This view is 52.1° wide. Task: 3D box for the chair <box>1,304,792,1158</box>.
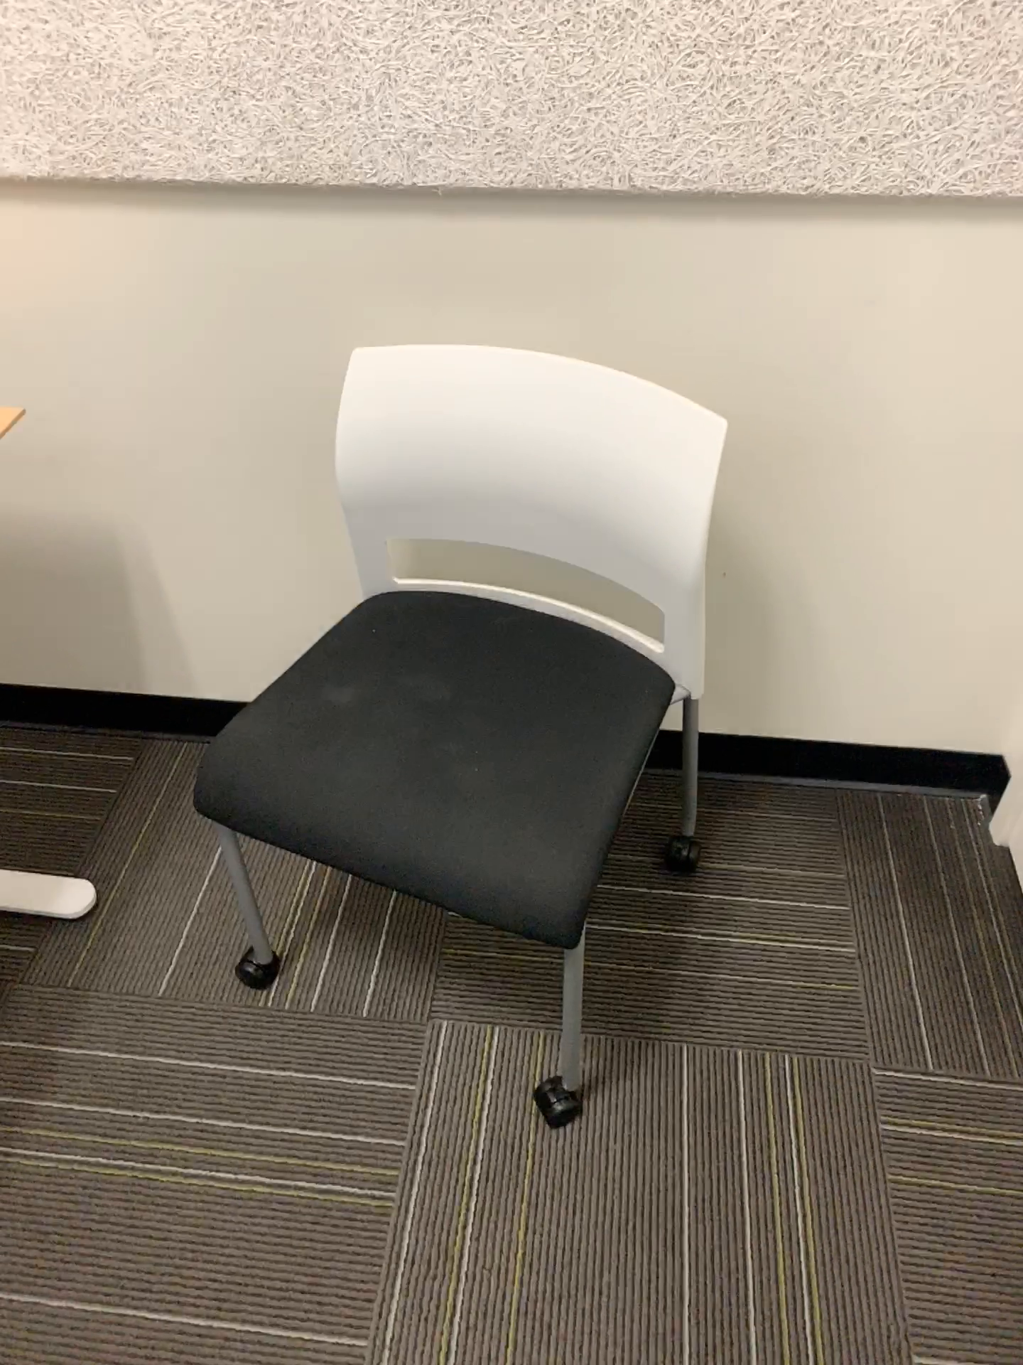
[{"bbox_3d":[-0.070,0.052,1.268,0.581,0.736,0.542,16,46,18],"label":"chair"}]
